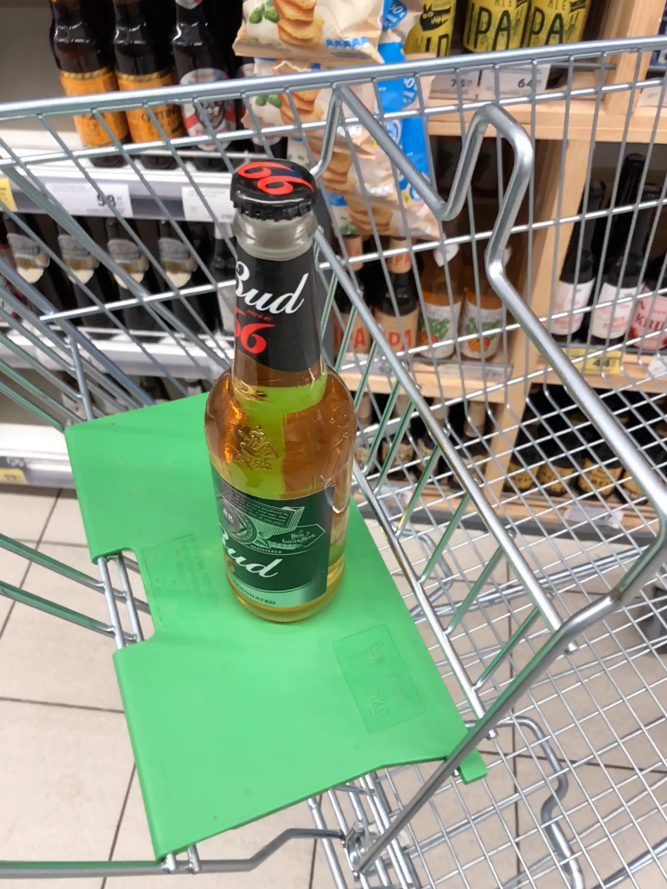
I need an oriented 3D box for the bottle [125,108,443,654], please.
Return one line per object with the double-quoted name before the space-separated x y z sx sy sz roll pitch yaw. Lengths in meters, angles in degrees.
"bottle" -0.020 -0.008 0.333 0.070 0.239 0.080 -32 57 -26
